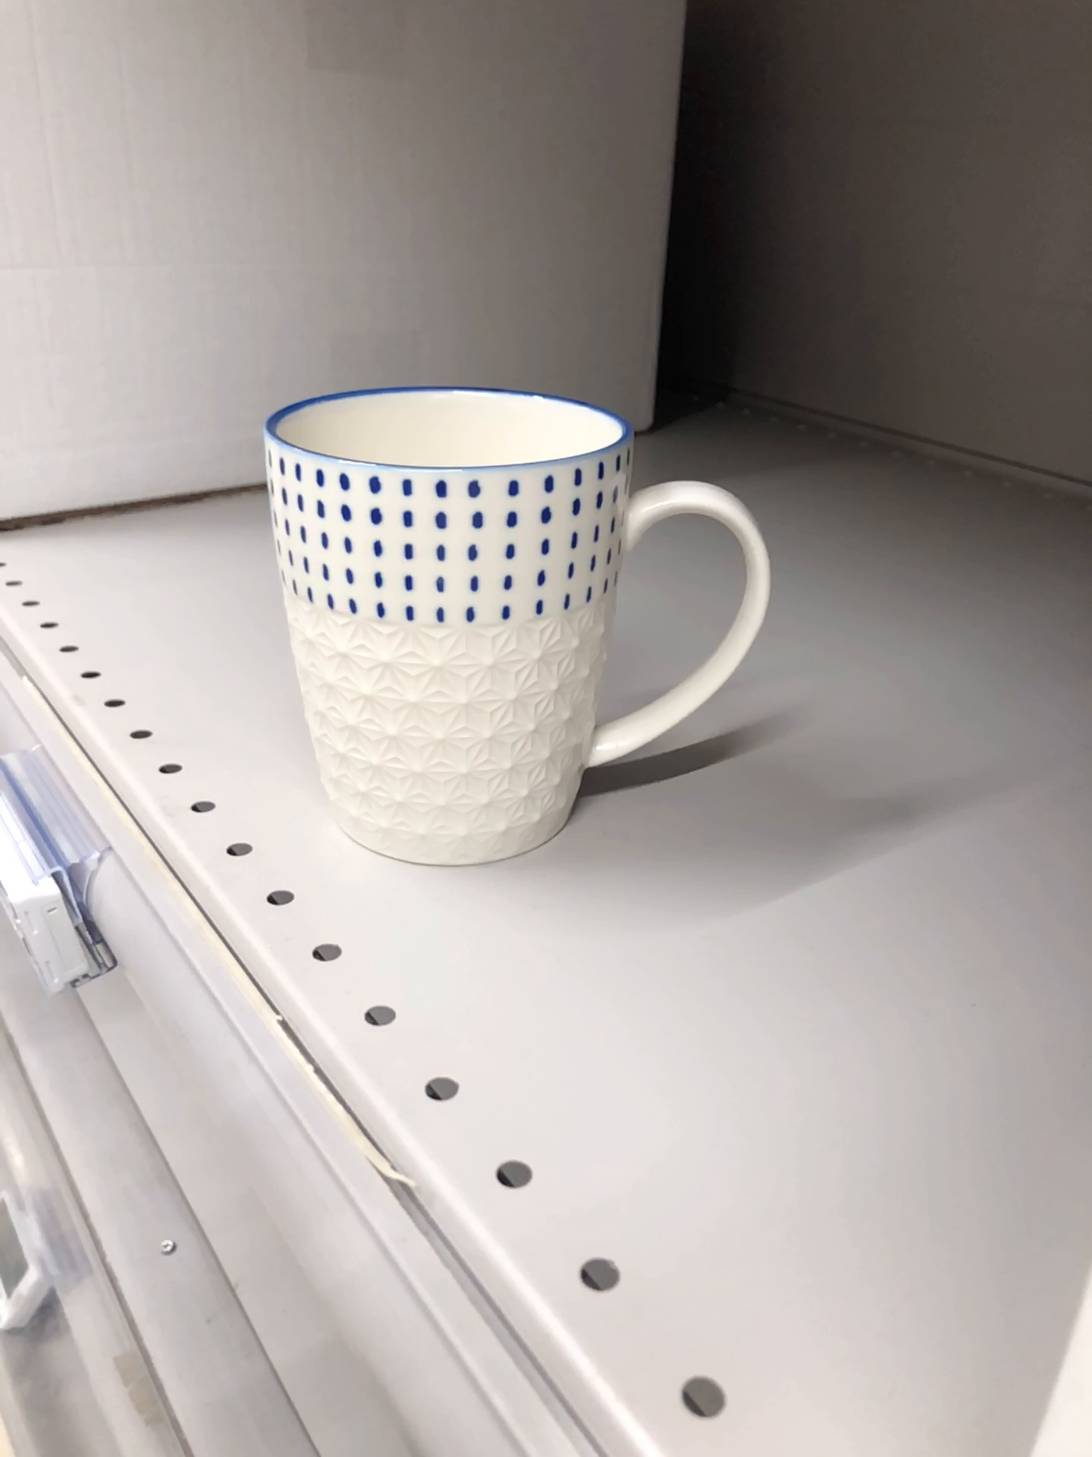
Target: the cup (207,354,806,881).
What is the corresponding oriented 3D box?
[{"bbox_3d":[-0.014,-0.035,0.302,0.119,0.096,0.097,-4,26,-9],"label":"cup"}]
